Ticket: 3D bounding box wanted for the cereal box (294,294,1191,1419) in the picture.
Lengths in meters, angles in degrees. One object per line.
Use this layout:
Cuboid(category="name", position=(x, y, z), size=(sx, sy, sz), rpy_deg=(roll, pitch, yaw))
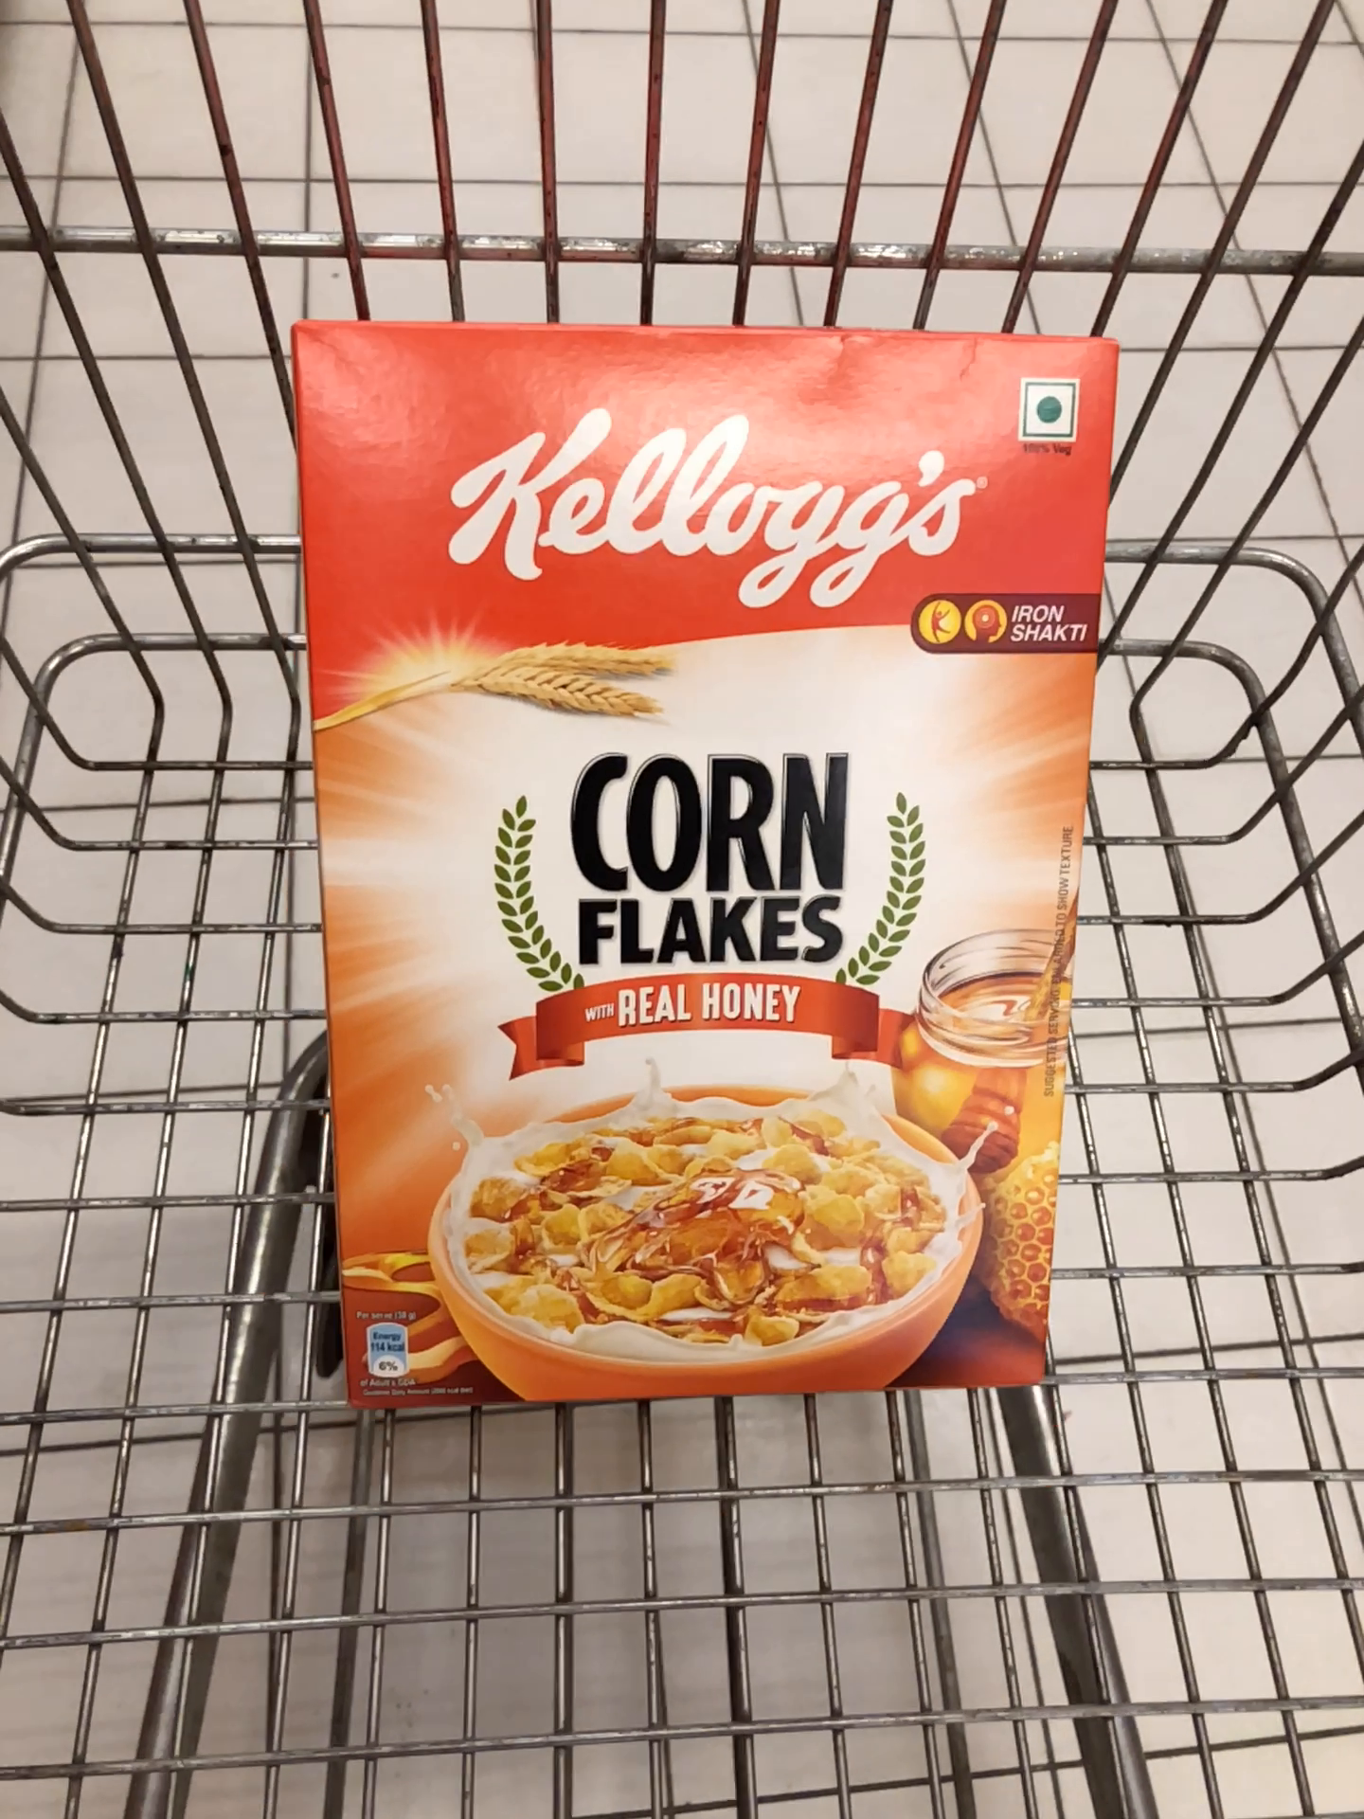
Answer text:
Cuboid(category="cereal box", position=(0.010, -0.011, 0.387), size=(0.190, 0.080, 0.259), rpy_deg=(0, 104, -5))
